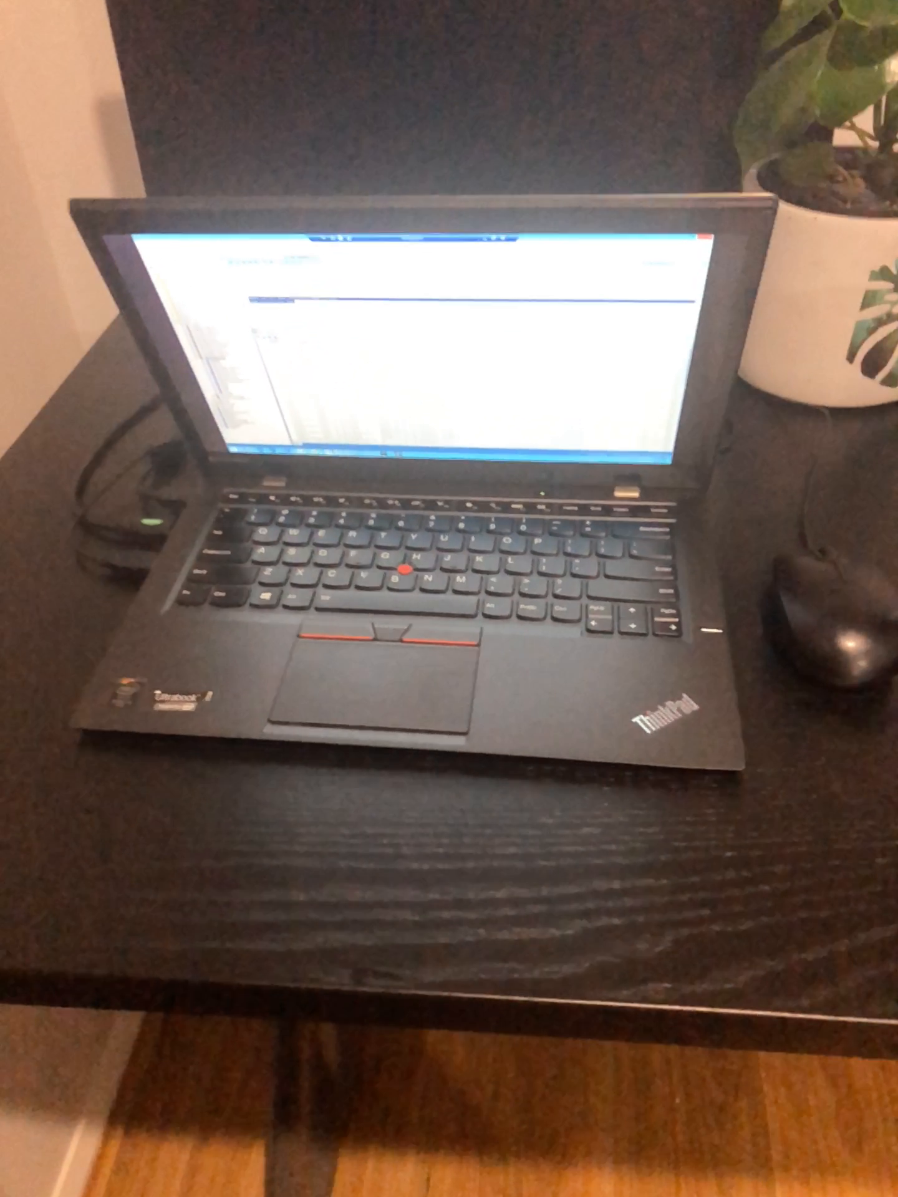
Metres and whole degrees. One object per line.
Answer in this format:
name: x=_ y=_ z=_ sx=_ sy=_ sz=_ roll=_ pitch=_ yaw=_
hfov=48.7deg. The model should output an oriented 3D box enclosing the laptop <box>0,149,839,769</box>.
laptop: x=-0.022 y=-0.086 z=0.513 sx=0.340 sy=0.214 sz=0.245 roll=2 pitch=38 yaw=7
